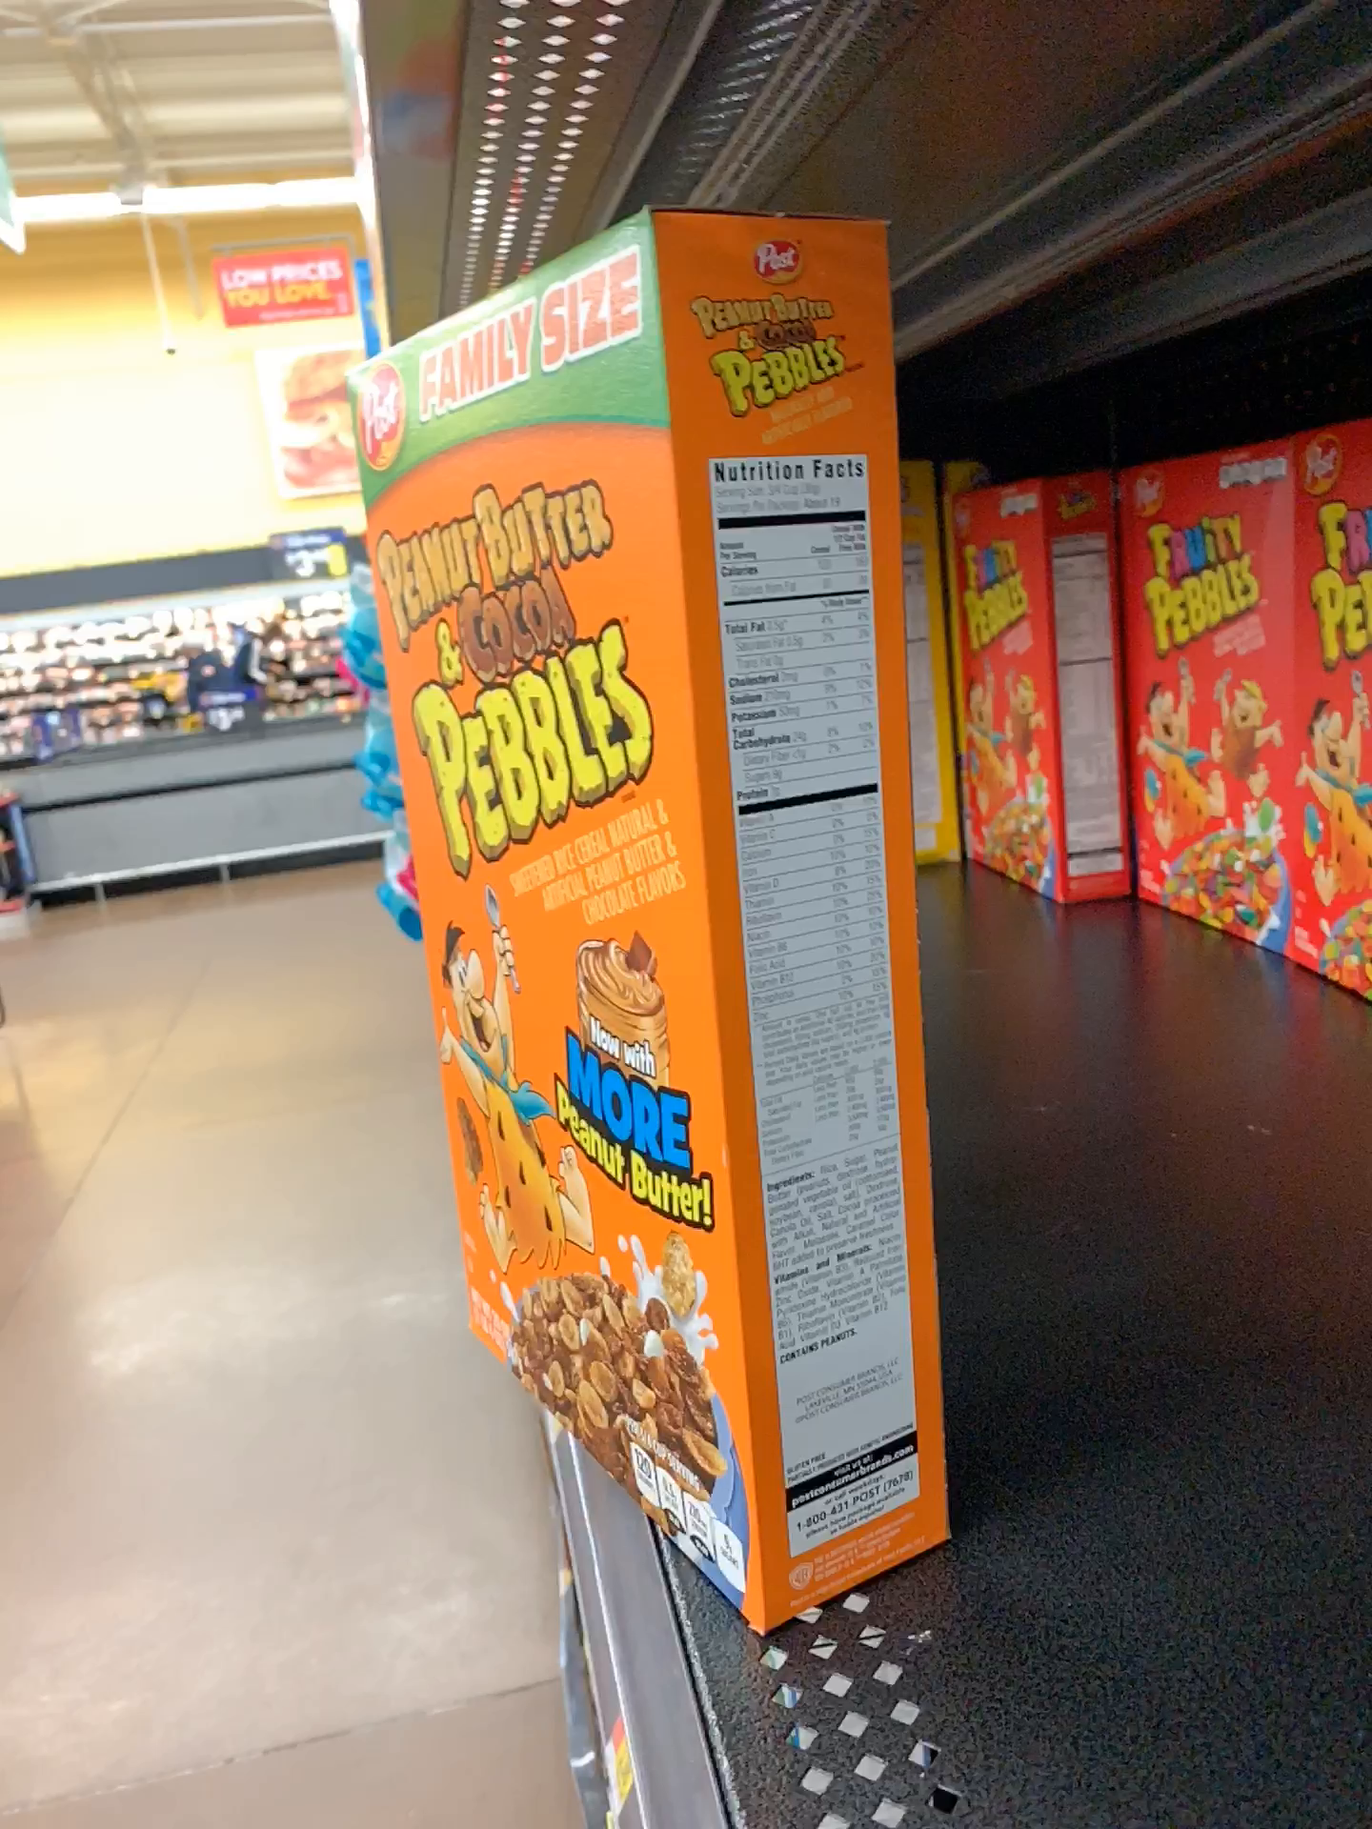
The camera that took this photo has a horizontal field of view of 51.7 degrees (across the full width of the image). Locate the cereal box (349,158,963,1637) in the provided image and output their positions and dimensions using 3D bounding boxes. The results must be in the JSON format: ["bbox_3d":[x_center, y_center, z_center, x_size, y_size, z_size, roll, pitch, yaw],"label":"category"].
[{"bbox_3d":[-0.017,-0.006,0.417,0.060,0.339,0.201,-12,13,-29],"label":"cereal box"}]
